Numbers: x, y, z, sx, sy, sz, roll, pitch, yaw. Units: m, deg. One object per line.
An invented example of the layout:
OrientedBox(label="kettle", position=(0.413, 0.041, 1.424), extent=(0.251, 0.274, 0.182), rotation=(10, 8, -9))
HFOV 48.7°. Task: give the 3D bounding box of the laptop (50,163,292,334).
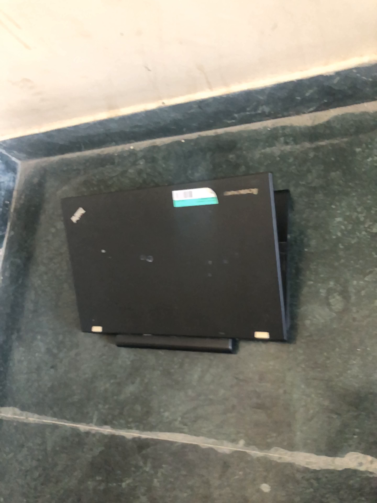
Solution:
OrientedBox(label="laptop", position=(-0.026, 0.003, 0.656), extent=(0.350, 0.094, 0.227), rotation=(-2, 72, 23))
